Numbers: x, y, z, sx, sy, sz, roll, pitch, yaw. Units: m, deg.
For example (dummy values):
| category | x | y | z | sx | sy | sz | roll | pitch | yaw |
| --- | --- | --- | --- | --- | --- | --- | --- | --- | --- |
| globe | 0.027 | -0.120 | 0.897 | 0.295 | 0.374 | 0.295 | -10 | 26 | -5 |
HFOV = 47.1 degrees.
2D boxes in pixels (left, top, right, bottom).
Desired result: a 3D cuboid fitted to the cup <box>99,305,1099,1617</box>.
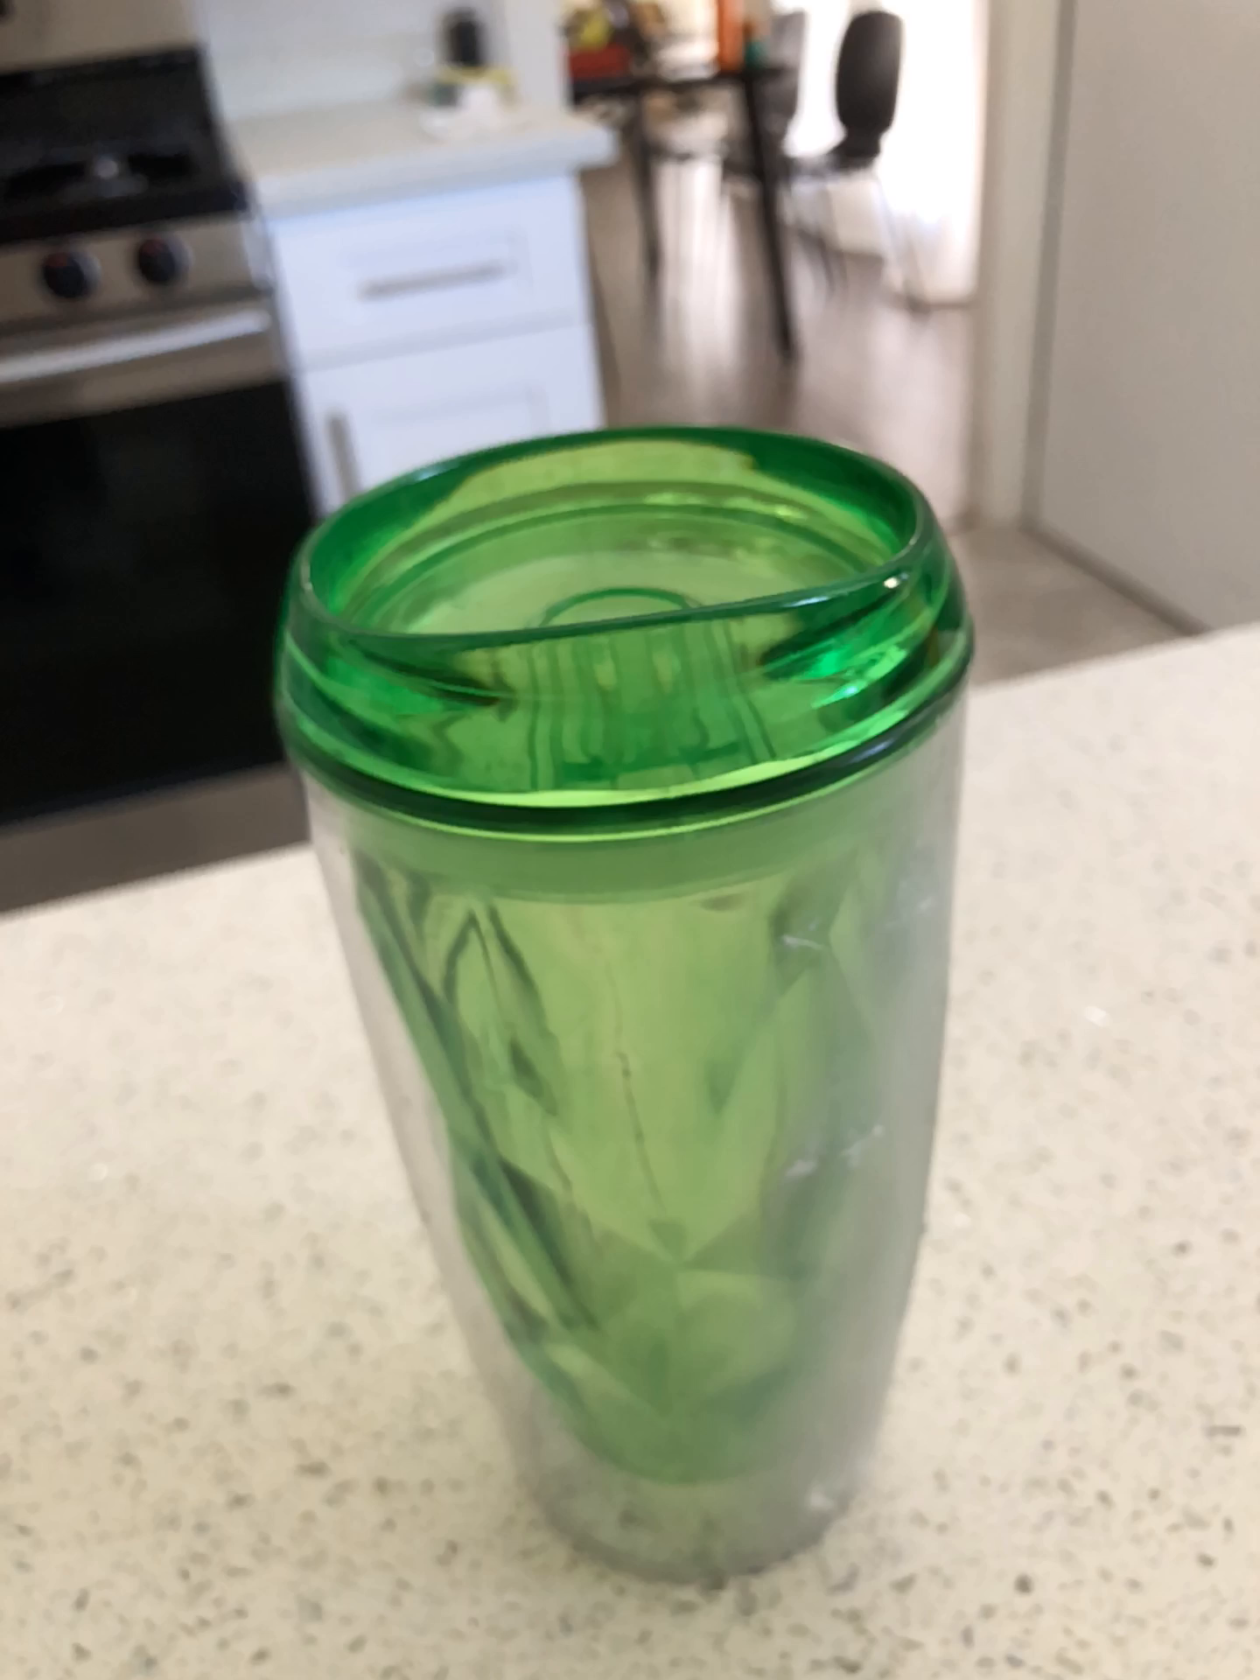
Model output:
| category | x | y | z | sx | sy | sz | roll | pitch | yaw |
| --- | --- | --- | --- | --- | --- | --- | --- | --- | --- |
| cup | 0.002 | 0.020 | 0.210 | 0.090 | 0.159 | 0.090 | -4 | 32 | 3 |
